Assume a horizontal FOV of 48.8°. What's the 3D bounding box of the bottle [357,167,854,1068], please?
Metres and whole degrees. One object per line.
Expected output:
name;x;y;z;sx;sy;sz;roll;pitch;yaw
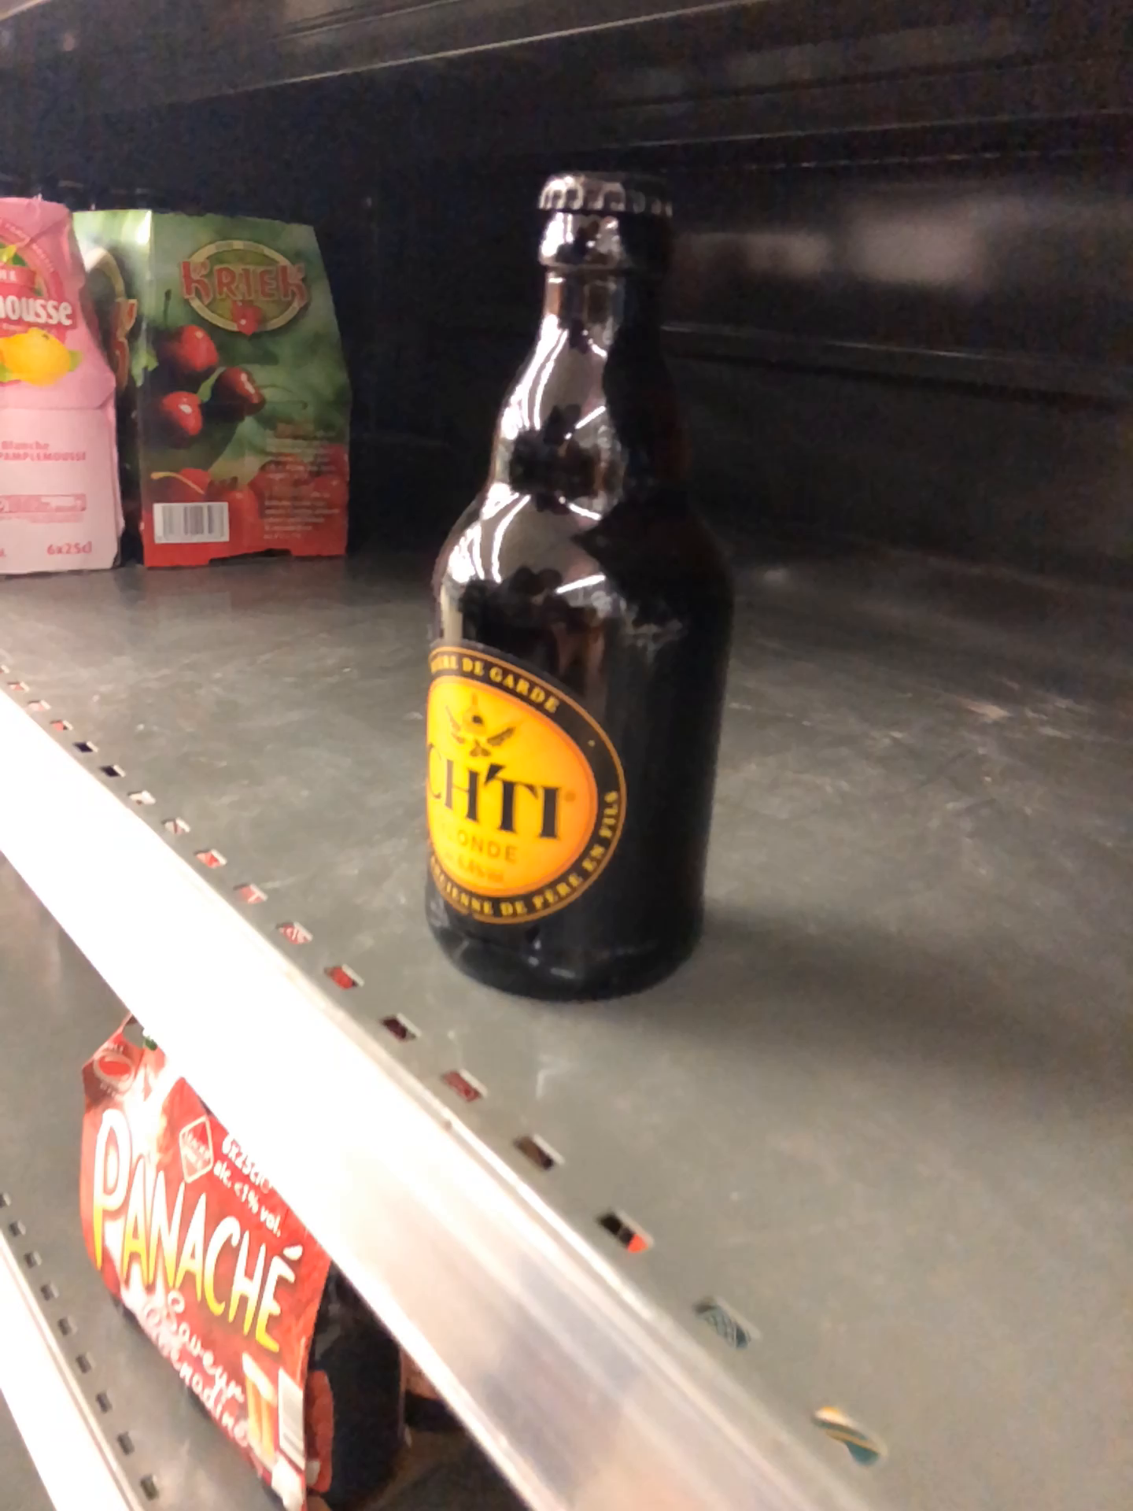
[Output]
bottle;0.004;-0.032;0.277;0.070;0.169;0.070;3;19;-1
